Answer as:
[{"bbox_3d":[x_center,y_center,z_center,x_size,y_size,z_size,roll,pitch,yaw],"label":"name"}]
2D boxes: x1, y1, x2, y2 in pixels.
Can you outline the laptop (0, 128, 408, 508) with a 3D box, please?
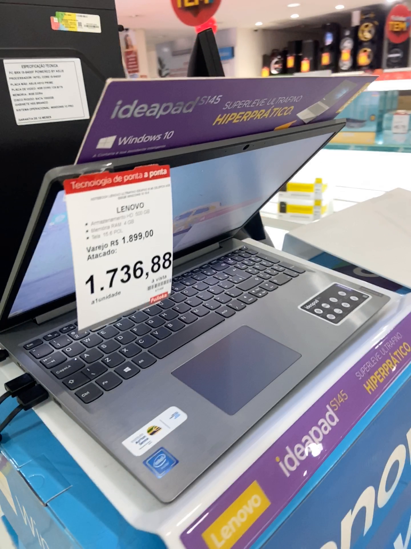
[{"bbox_3d":[0.002,-0.030,0.416,0.244,0.161,0.358,21,32,38],"label":"laptop"}]
